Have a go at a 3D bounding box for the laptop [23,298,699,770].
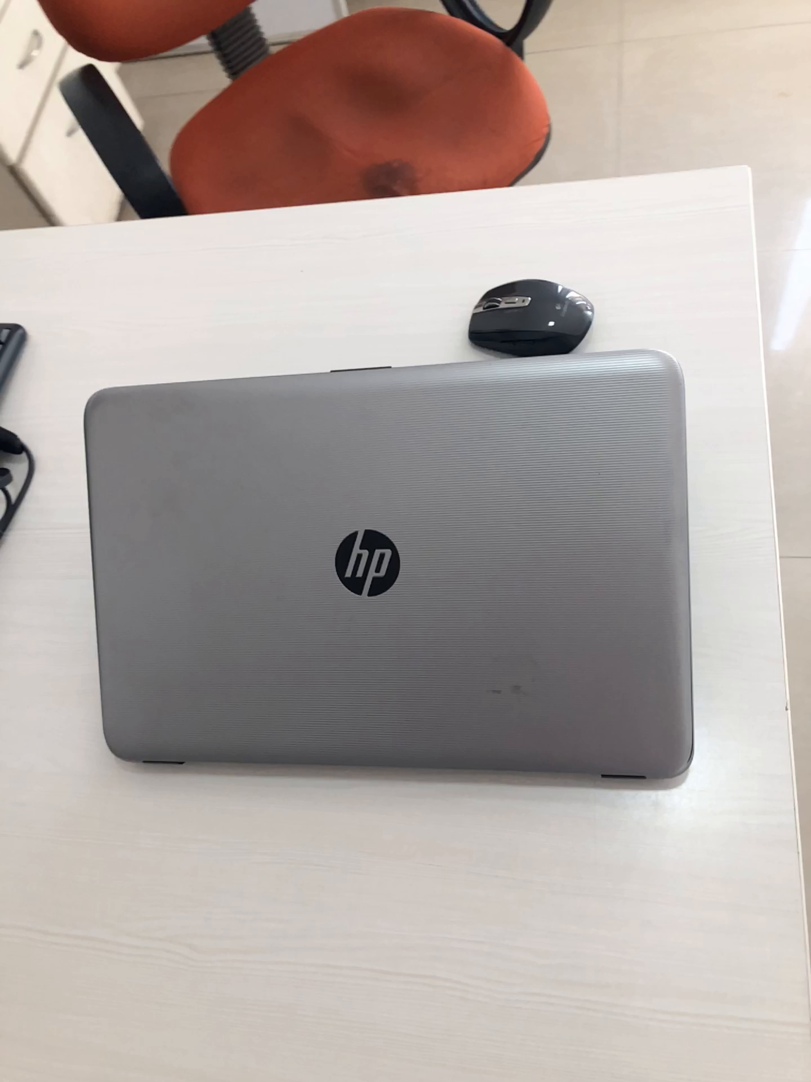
[{"bbox_3d":[-0.022,0.001,0.573,0.369,0.120,0.252,-2,65,13],"label":"laptop"}]
